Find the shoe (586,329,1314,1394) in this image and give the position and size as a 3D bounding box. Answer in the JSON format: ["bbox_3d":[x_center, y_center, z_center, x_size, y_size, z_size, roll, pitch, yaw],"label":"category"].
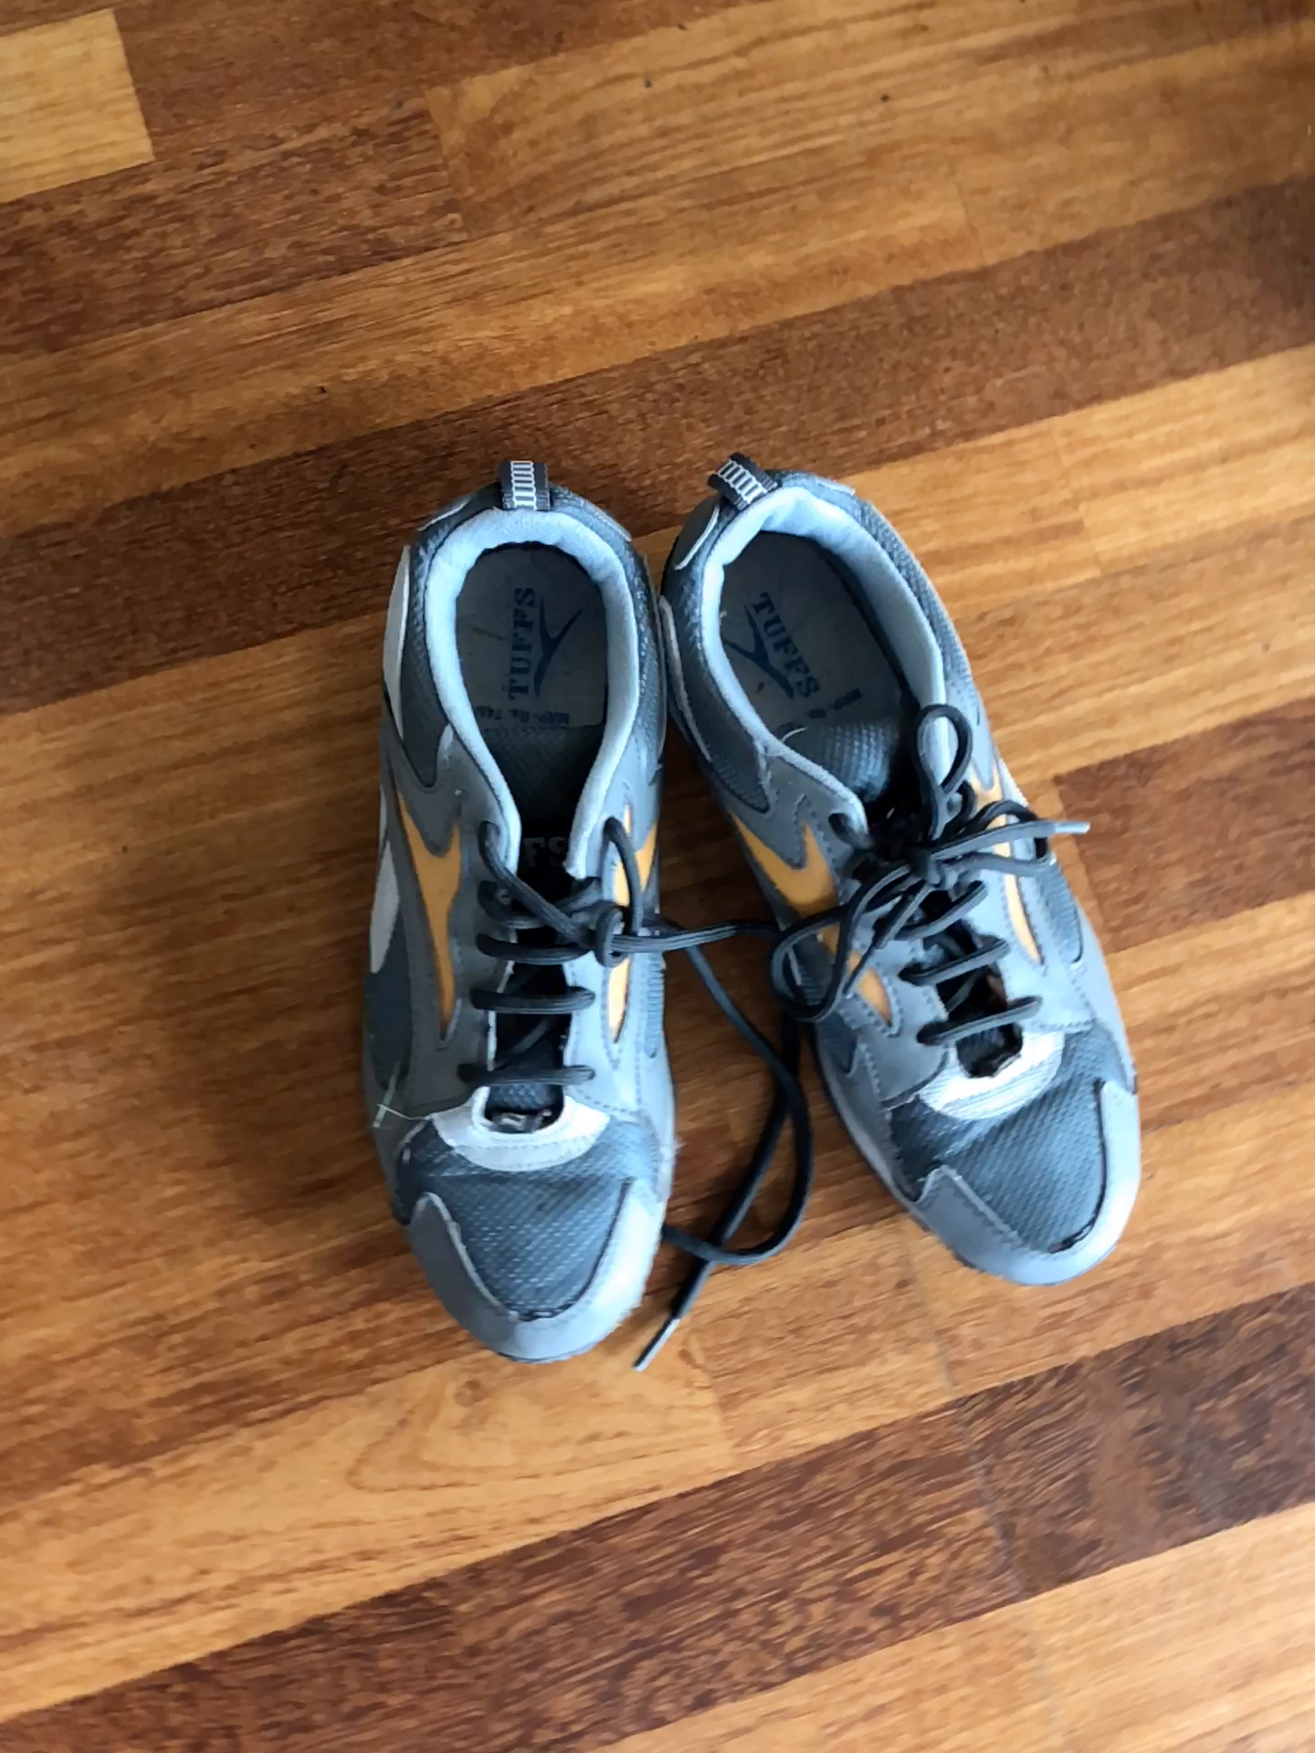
[{"bbox_3d":[0.084,-0.006,0.455,0.112,0.099,0.283,-22,83,-8],"label":"shoe"}]

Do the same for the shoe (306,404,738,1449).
[{"bbox_3d":[-0.043,0.011,0.437,0.110,0.088,0.283,-2,82,-5],"label":"shoe"}]
